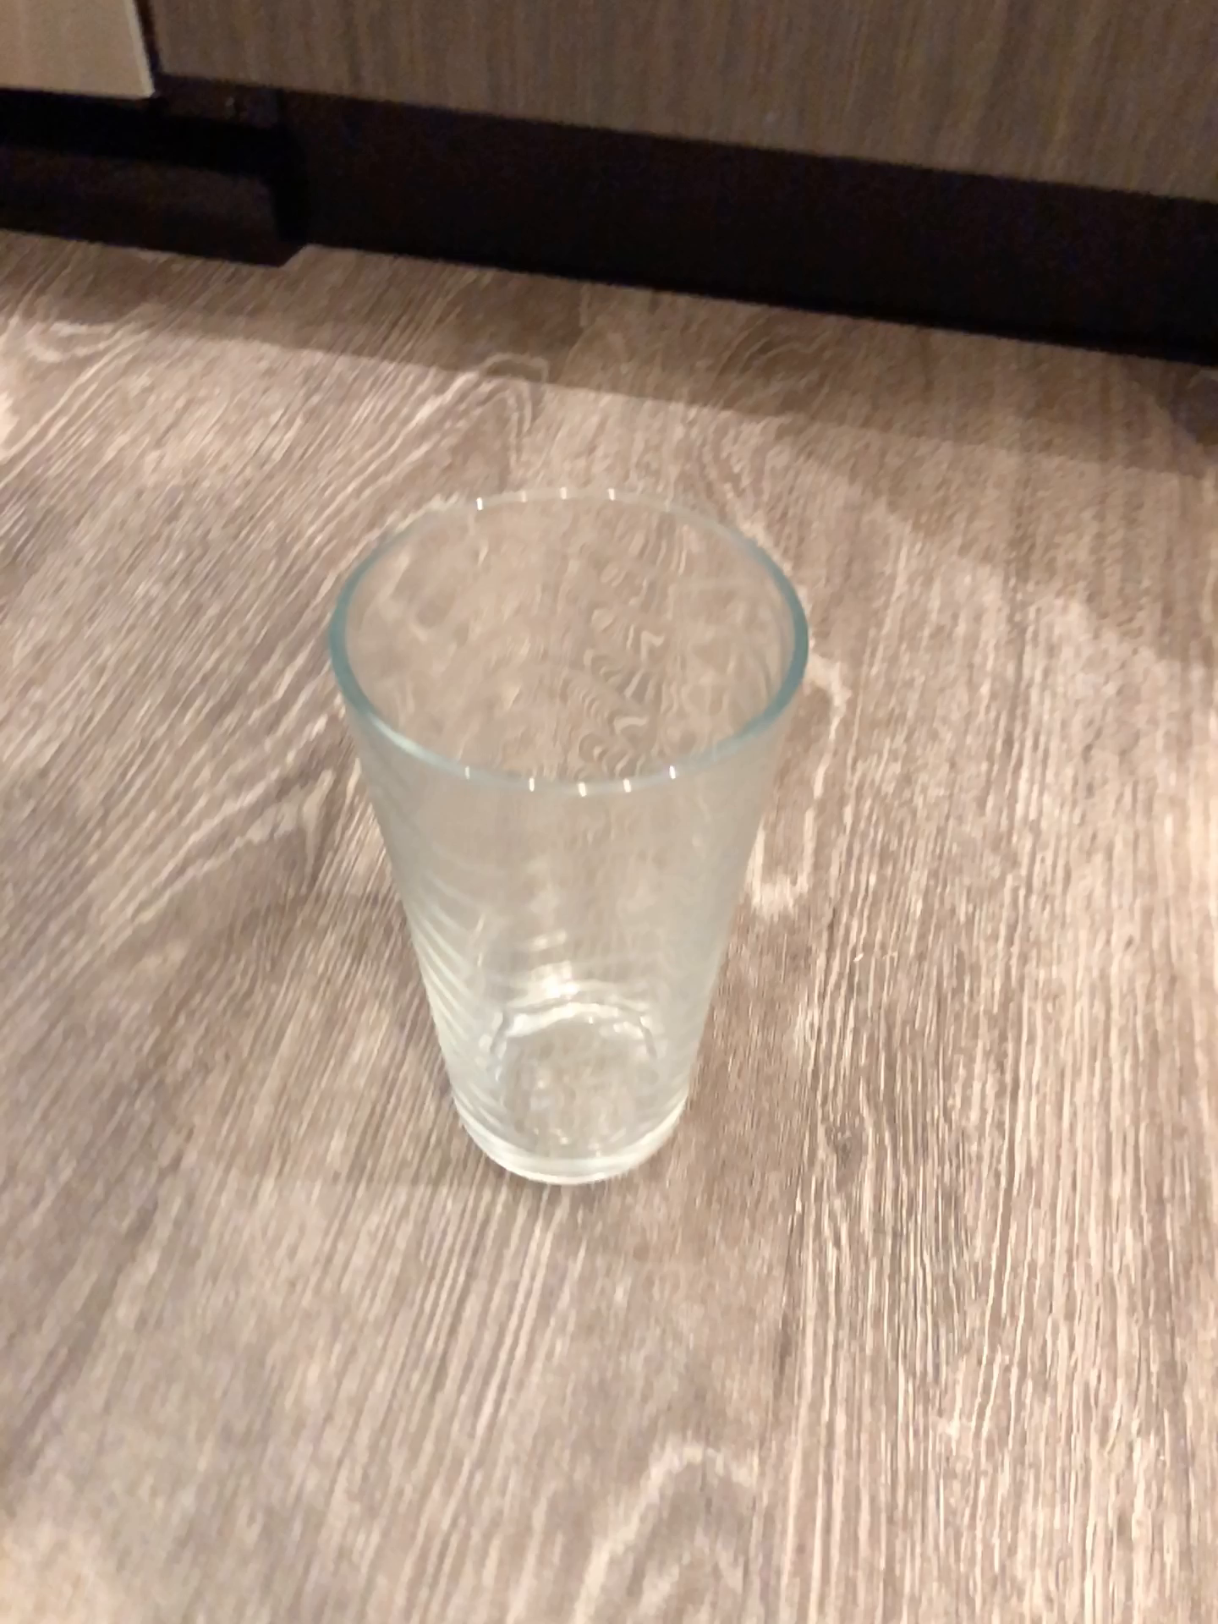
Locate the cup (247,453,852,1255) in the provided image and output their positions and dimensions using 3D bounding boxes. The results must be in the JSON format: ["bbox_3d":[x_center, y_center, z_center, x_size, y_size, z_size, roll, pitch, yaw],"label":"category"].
[{"bbox_3d":[-0.007,0.014,0.293,0.090,0.139,0.090,1,47,-1],"label":"cup"}]
